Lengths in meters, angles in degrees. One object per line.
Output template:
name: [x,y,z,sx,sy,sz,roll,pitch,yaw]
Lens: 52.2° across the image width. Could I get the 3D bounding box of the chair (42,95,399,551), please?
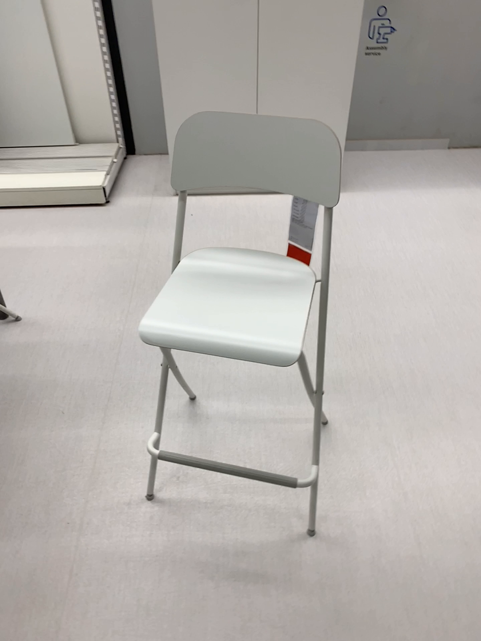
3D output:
chair: [0.014,0.046,1.185,0.520,0.936,0.502,9,43,10]
